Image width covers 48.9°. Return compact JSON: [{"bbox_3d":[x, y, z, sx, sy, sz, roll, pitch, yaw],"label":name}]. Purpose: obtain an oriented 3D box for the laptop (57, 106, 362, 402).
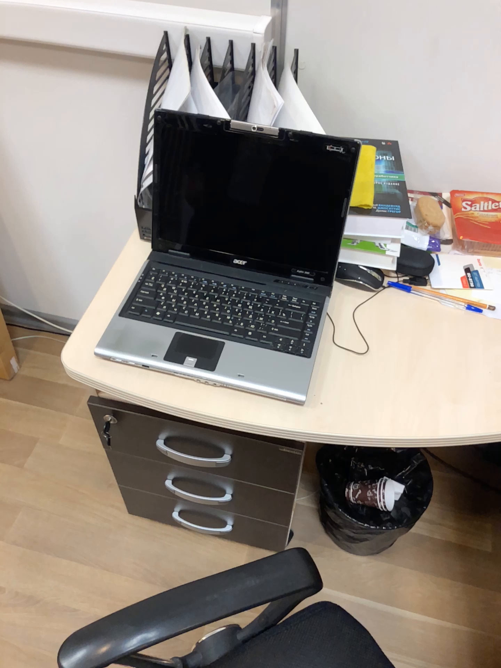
[{"bbox_3d":[-0.036,-0.131,0.821,0.325,0.219,0.325,12,51,9],"label":"laptop"}]
